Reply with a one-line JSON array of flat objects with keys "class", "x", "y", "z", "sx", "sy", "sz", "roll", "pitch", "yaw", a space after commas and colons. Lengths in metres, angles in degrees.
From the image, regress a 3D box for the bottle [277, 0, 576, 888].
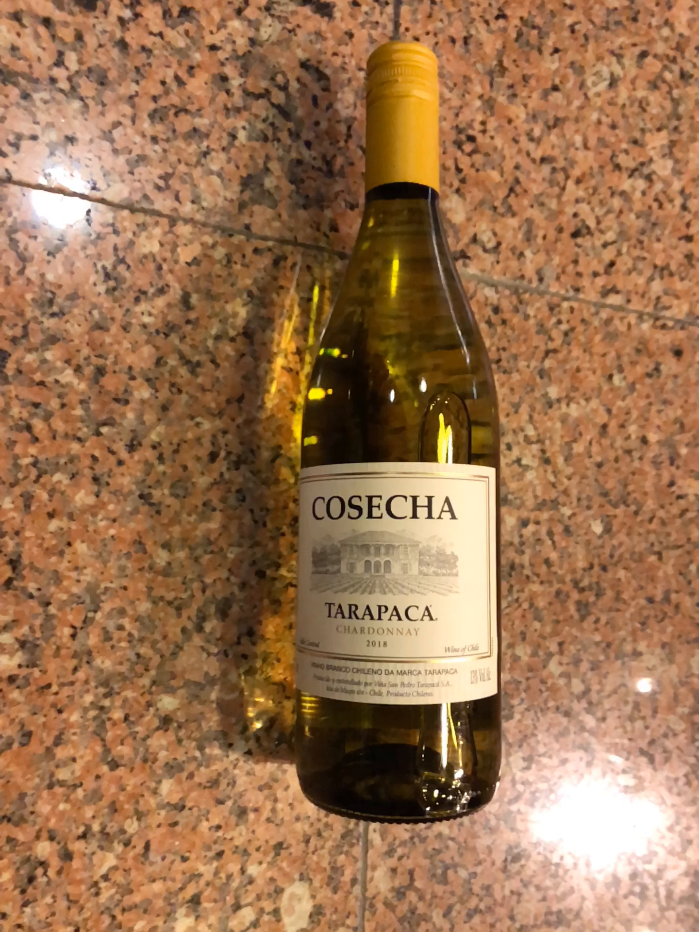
[{"class": "bottle", "x": 0.027, "y": -0.031, "z": 0.312, "sx": 0.090, "sy": 0.070, "sz": 0.340, "roll": 3, "pitch": 84, "yaw": -24}]
